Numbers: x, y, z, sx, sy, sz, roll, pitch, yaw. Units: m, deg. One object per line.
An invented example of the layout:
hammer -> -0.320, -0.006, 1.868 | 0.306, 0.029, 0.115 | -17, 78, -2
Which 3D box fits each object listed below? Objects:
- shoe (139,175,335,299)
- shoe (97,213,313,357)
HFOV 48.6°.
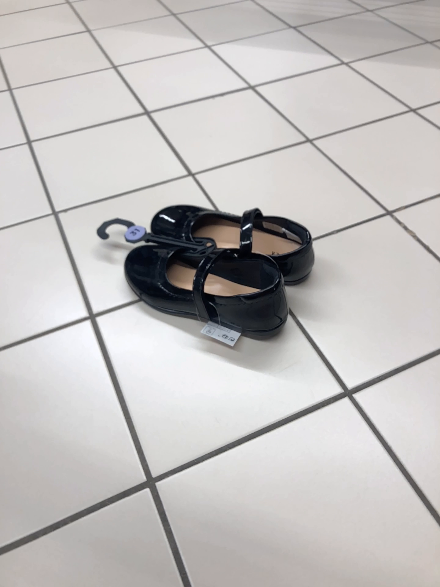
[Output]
shoe -> 0.019, -0.070, 0.566 | 0.204, 0.056, 0.079 | 18, 51, 18
shoe -> -0.017, -0.015, 0.520 | 0.210, 0.052, 0.079 | 20, 52, 19
